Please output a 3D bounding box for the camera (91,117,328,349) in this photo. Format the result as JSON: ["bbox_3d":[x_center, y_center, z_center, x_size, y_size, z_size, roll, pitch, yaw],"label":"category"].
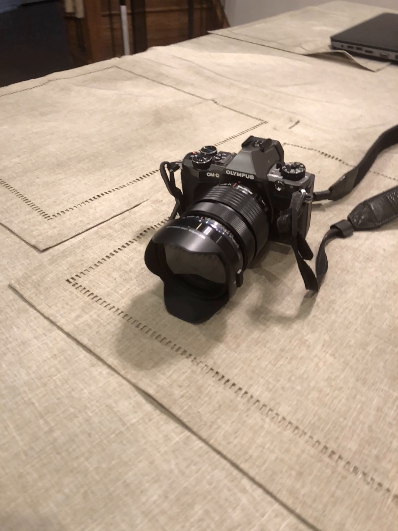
[{"bbox_3d":[0.017,-0.040,0.364,0.124,0.092,0.165,18,41,19],"label":"camera"}]
